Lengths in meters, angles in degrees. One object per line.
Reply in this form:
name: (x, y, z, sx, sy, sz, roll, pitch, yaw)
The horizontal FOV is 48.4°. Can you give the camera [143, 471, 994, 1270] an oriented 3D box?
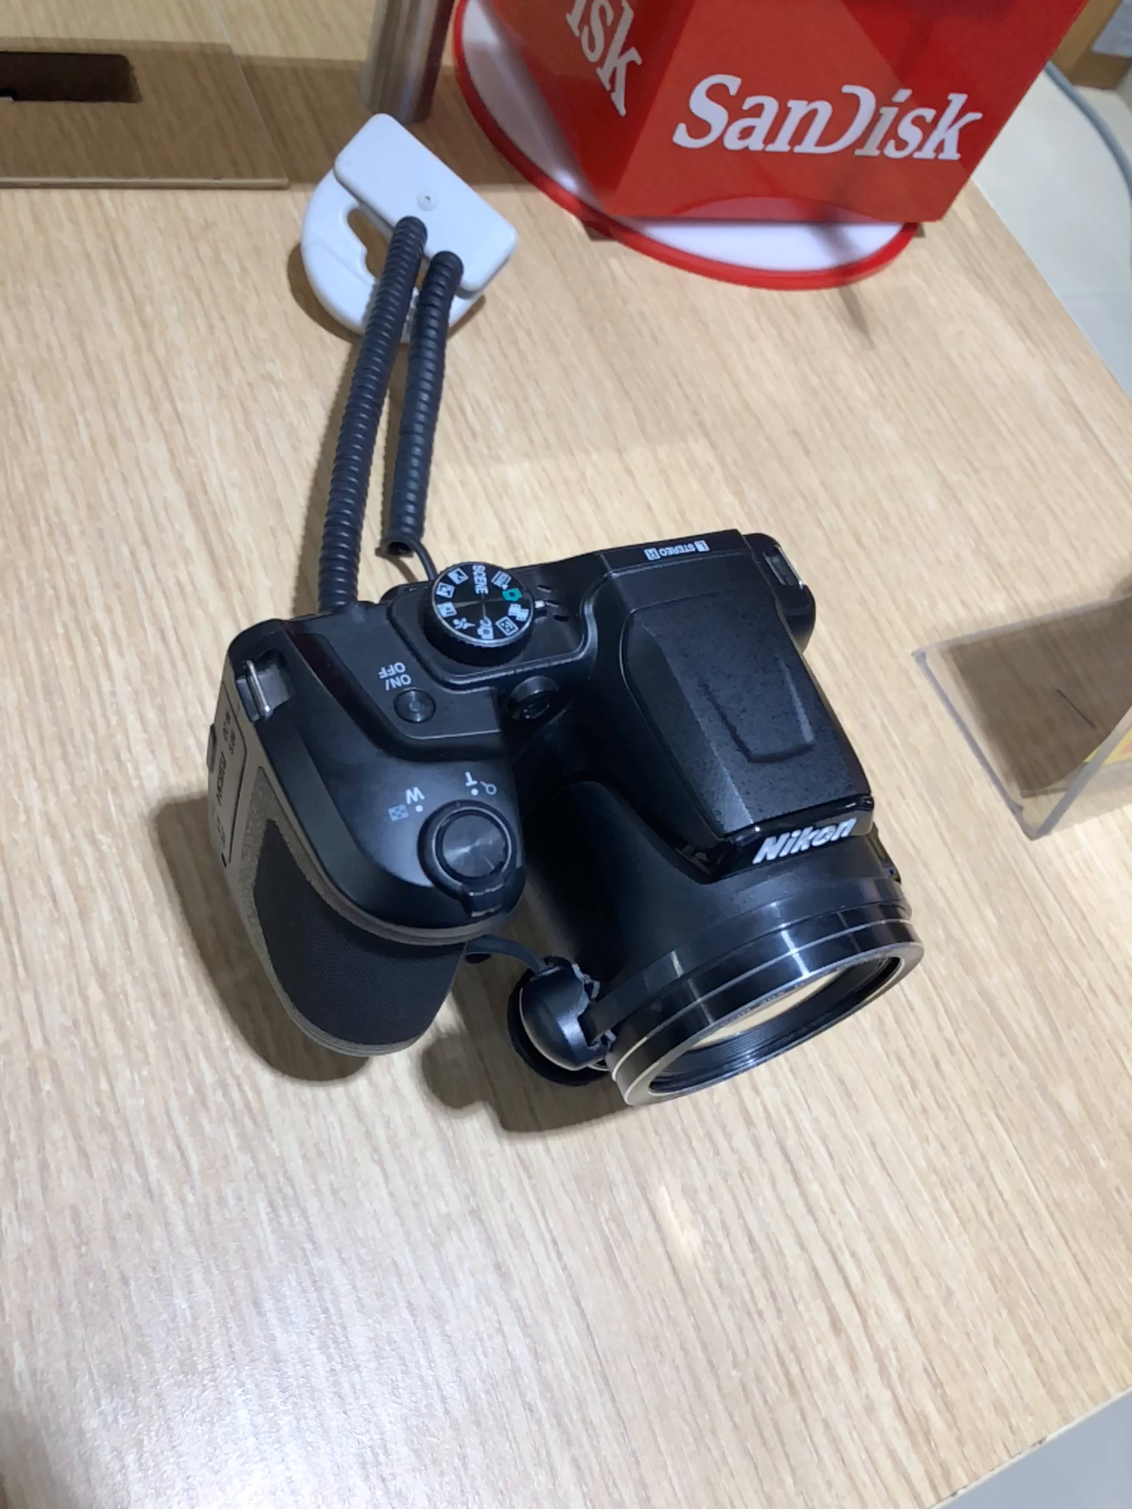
camera: (-0.007, 0.016, 0.219, 0.103, 0.070, 0.093, -15, 66, -27)
